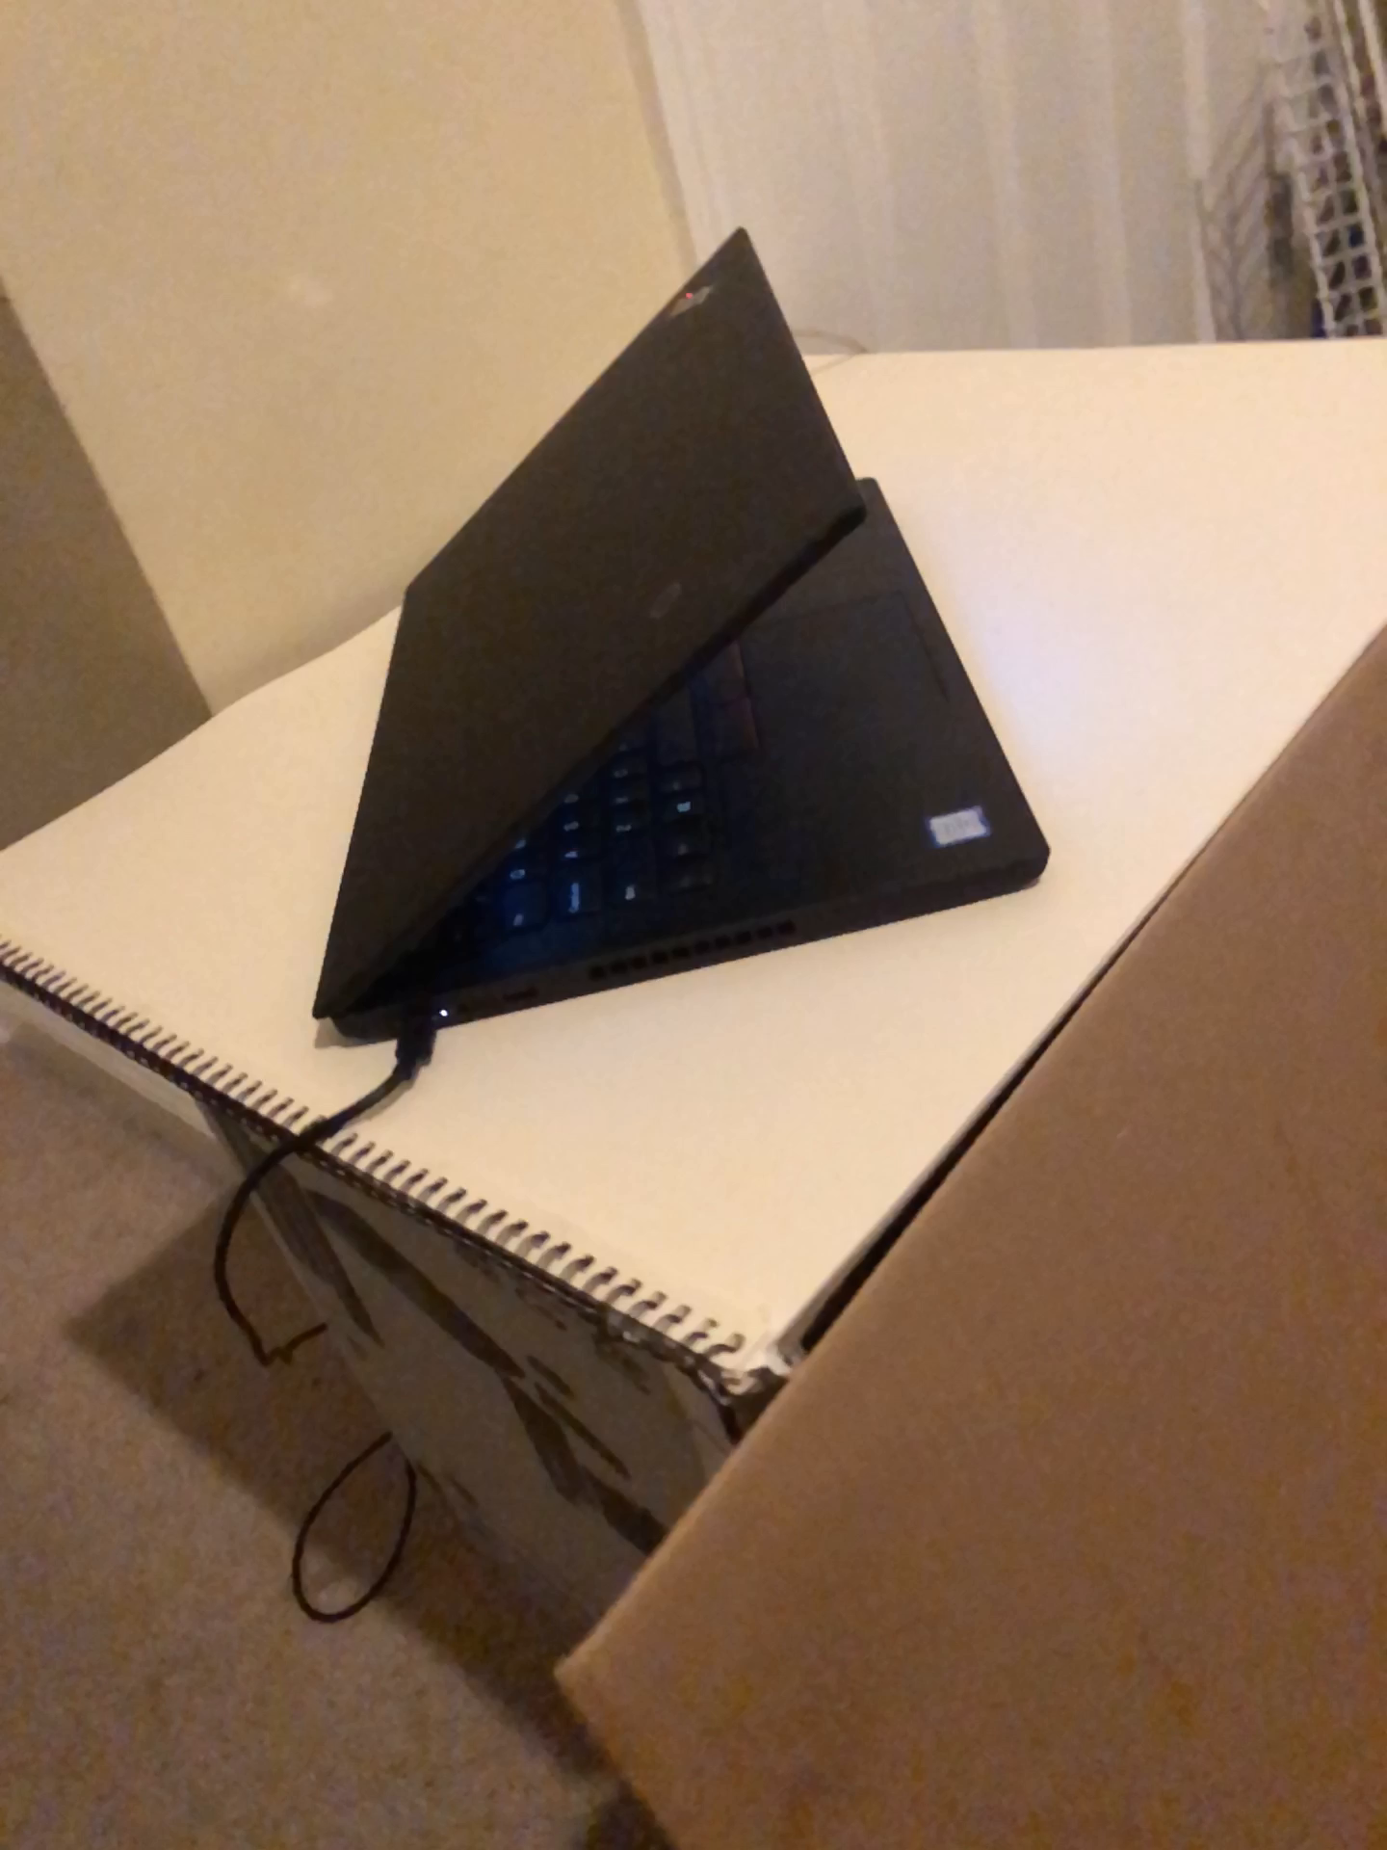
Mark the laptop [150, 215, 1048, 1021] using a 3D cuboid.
[{"bbox_3d":[-0.029,-0.134,0.554,0.226,0.115,0.319,-13,36,6],"label":"laptop"}]
